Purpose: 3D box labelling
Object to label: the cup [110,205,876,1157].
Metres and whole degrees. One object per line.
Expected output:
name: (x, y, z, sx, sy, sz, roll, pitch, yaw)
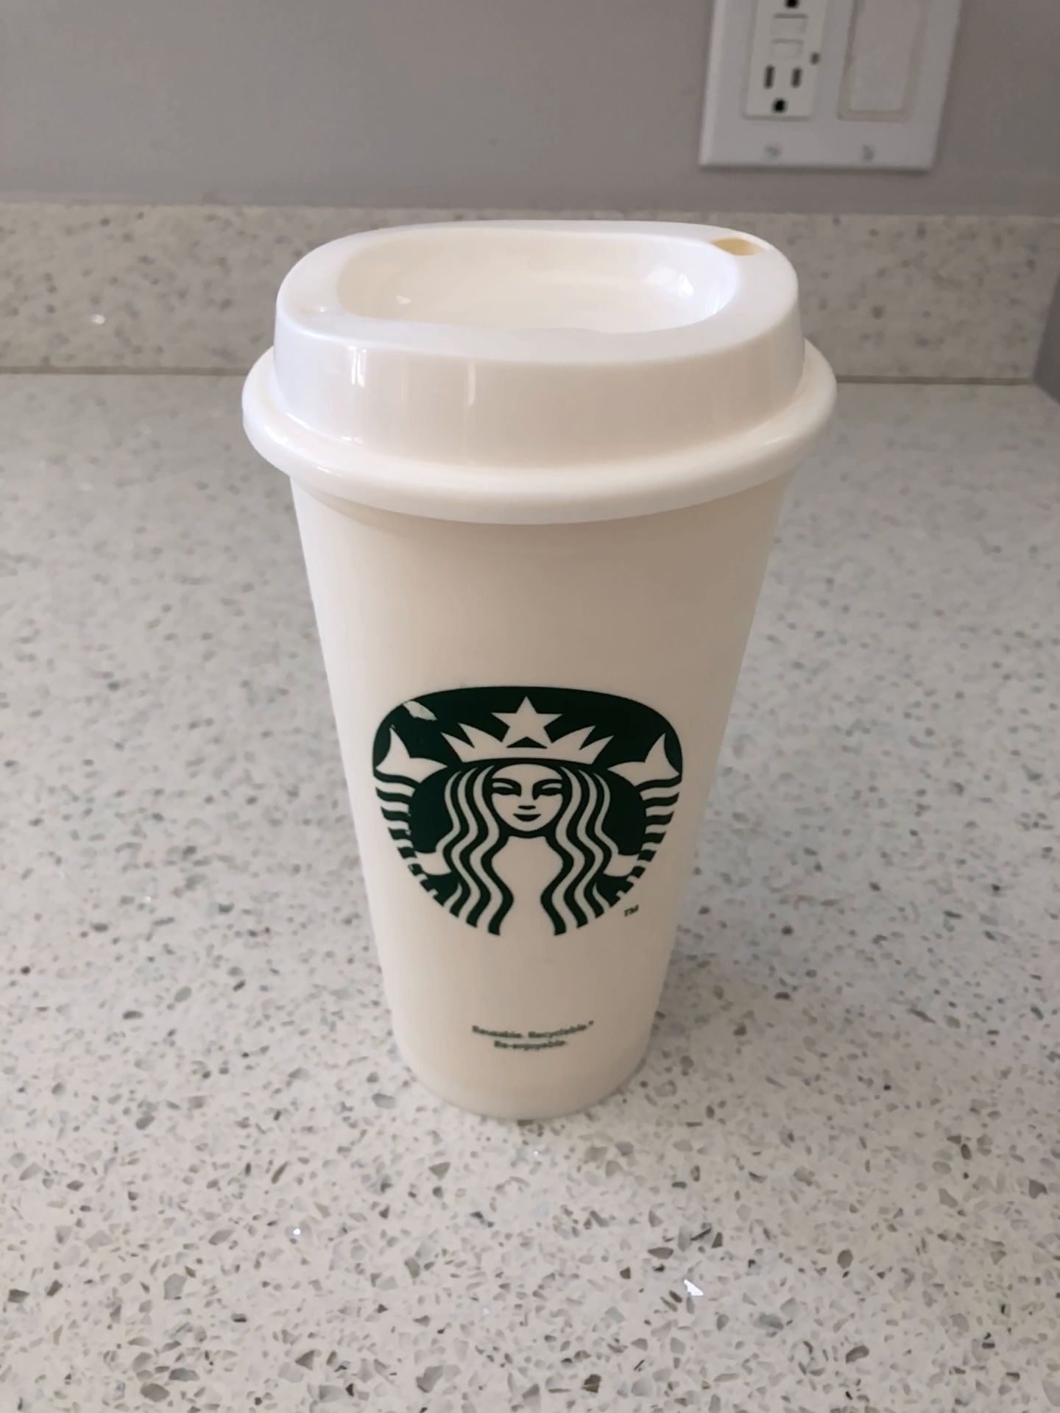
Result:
cup: (-0.002, -0.006, 0.215, 0.090, 0.139, 0.090, 1, 33, 0)
